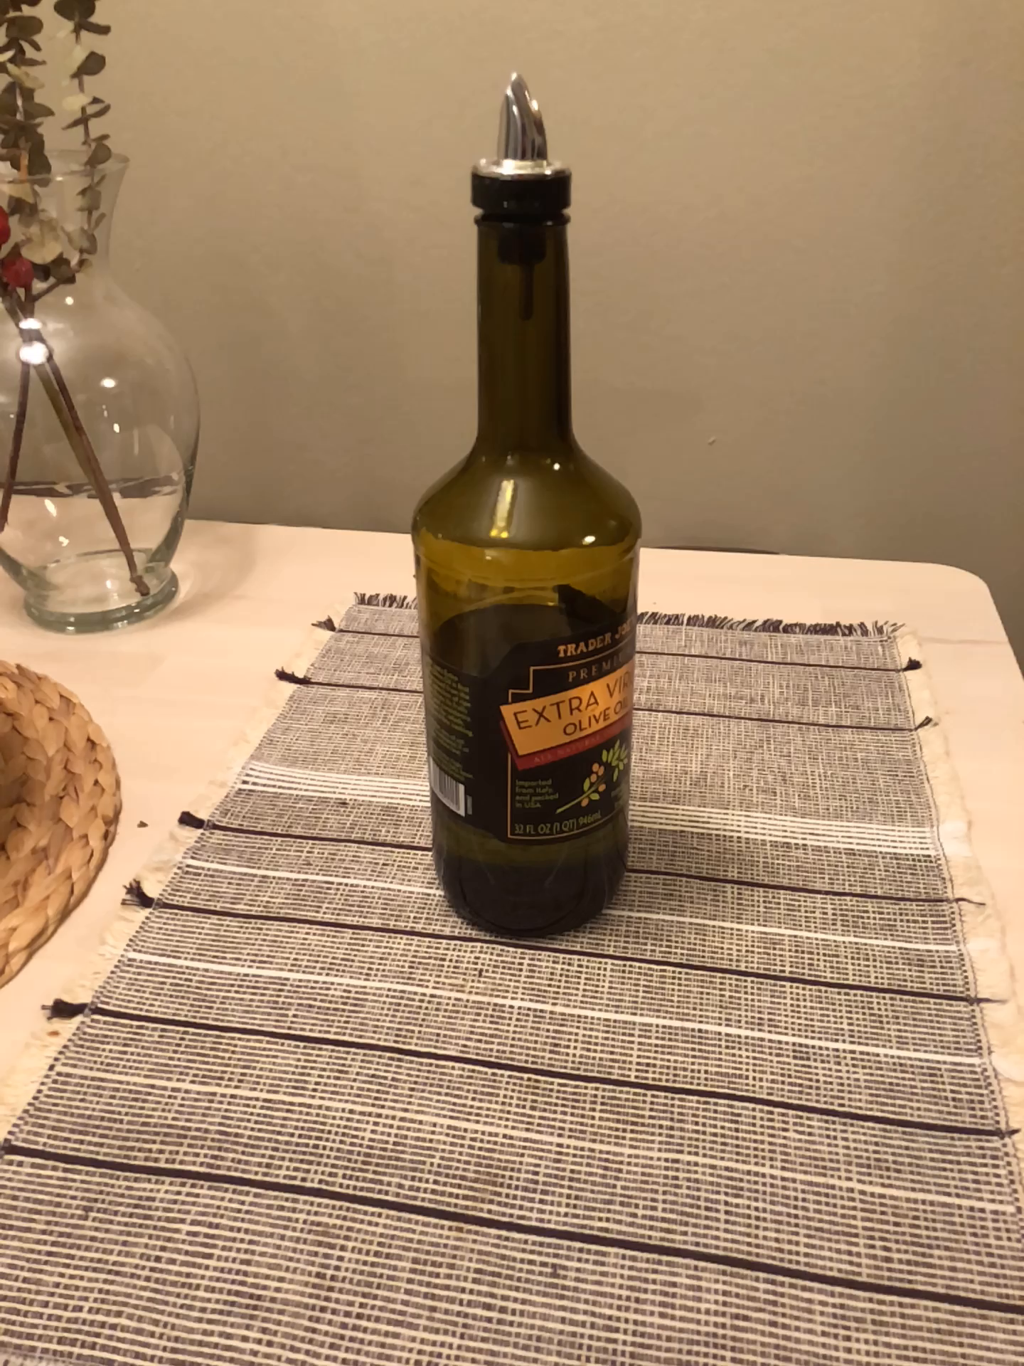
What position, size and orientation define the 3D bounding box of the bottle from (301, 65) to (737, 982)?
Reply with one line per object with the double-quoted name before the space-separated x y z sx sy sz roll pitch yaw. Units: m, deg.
"bottle" 0.004 -0.050 0.411 0.091 0.304 0.095 -1 30 1
